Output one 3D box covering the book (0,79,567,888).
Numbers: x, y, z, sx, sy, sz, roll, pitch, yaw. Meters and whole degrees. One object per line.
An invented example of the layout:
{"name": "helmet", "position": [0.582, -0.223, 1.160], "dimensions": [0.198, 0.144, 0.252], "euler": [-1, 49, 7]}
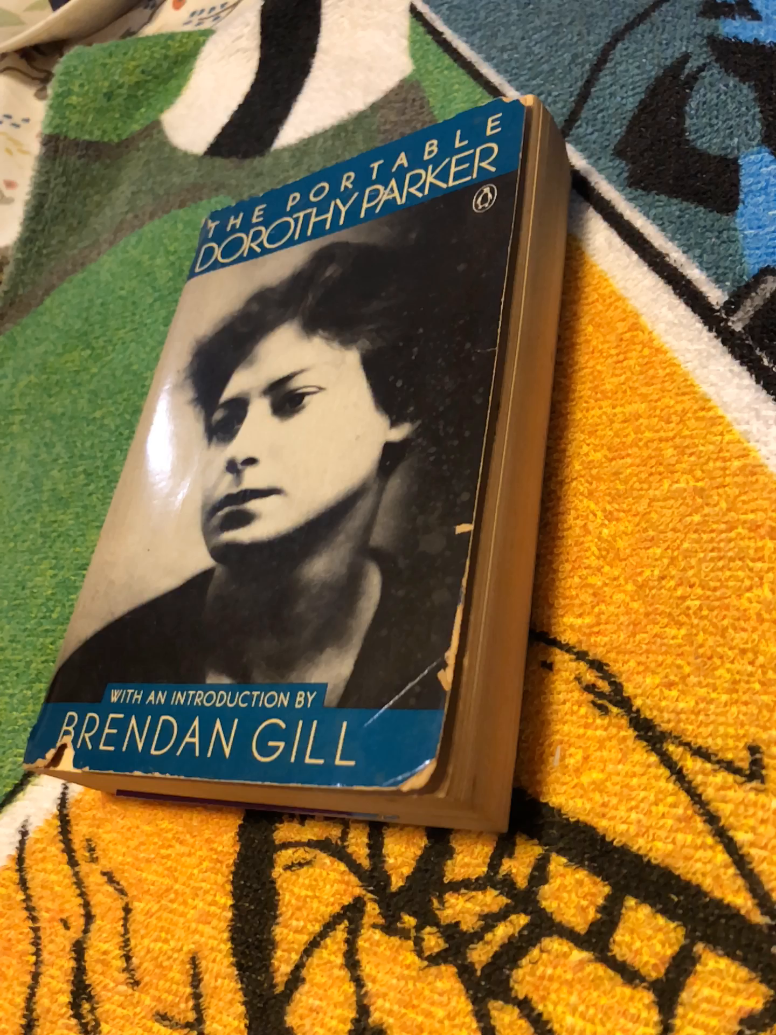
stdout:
{"name": "book", "position": [-0.031, -0.016, 0.242], "dimensions": [0.140, 0.040, 0.200], "euler": [-6, 60, 29]}
